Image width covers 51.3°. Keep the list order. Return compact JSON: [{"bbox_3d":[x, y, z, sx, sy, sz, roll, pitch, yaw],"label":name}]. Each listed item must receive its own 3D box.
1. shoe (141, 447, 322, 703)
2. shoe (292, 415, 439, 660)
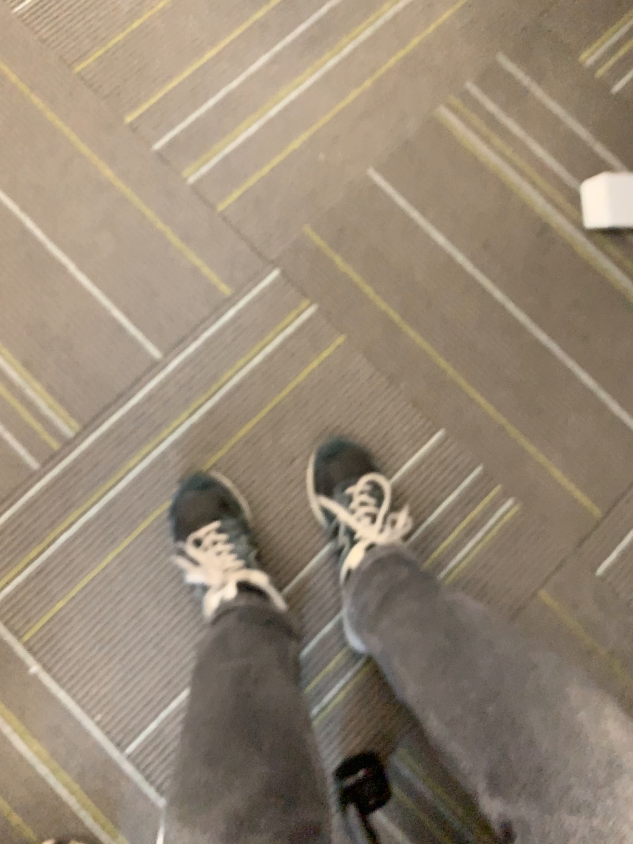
[{"bbox_3d":[-0.112,0.196,0.876,0.121,0.071,0.295,-24,82,-7],"label":"shoe"},{"bbox_3d":[0.060,0.151,0.895,0.119,0.071,0.294,-14,81,-6],"label":"shoe"}]
